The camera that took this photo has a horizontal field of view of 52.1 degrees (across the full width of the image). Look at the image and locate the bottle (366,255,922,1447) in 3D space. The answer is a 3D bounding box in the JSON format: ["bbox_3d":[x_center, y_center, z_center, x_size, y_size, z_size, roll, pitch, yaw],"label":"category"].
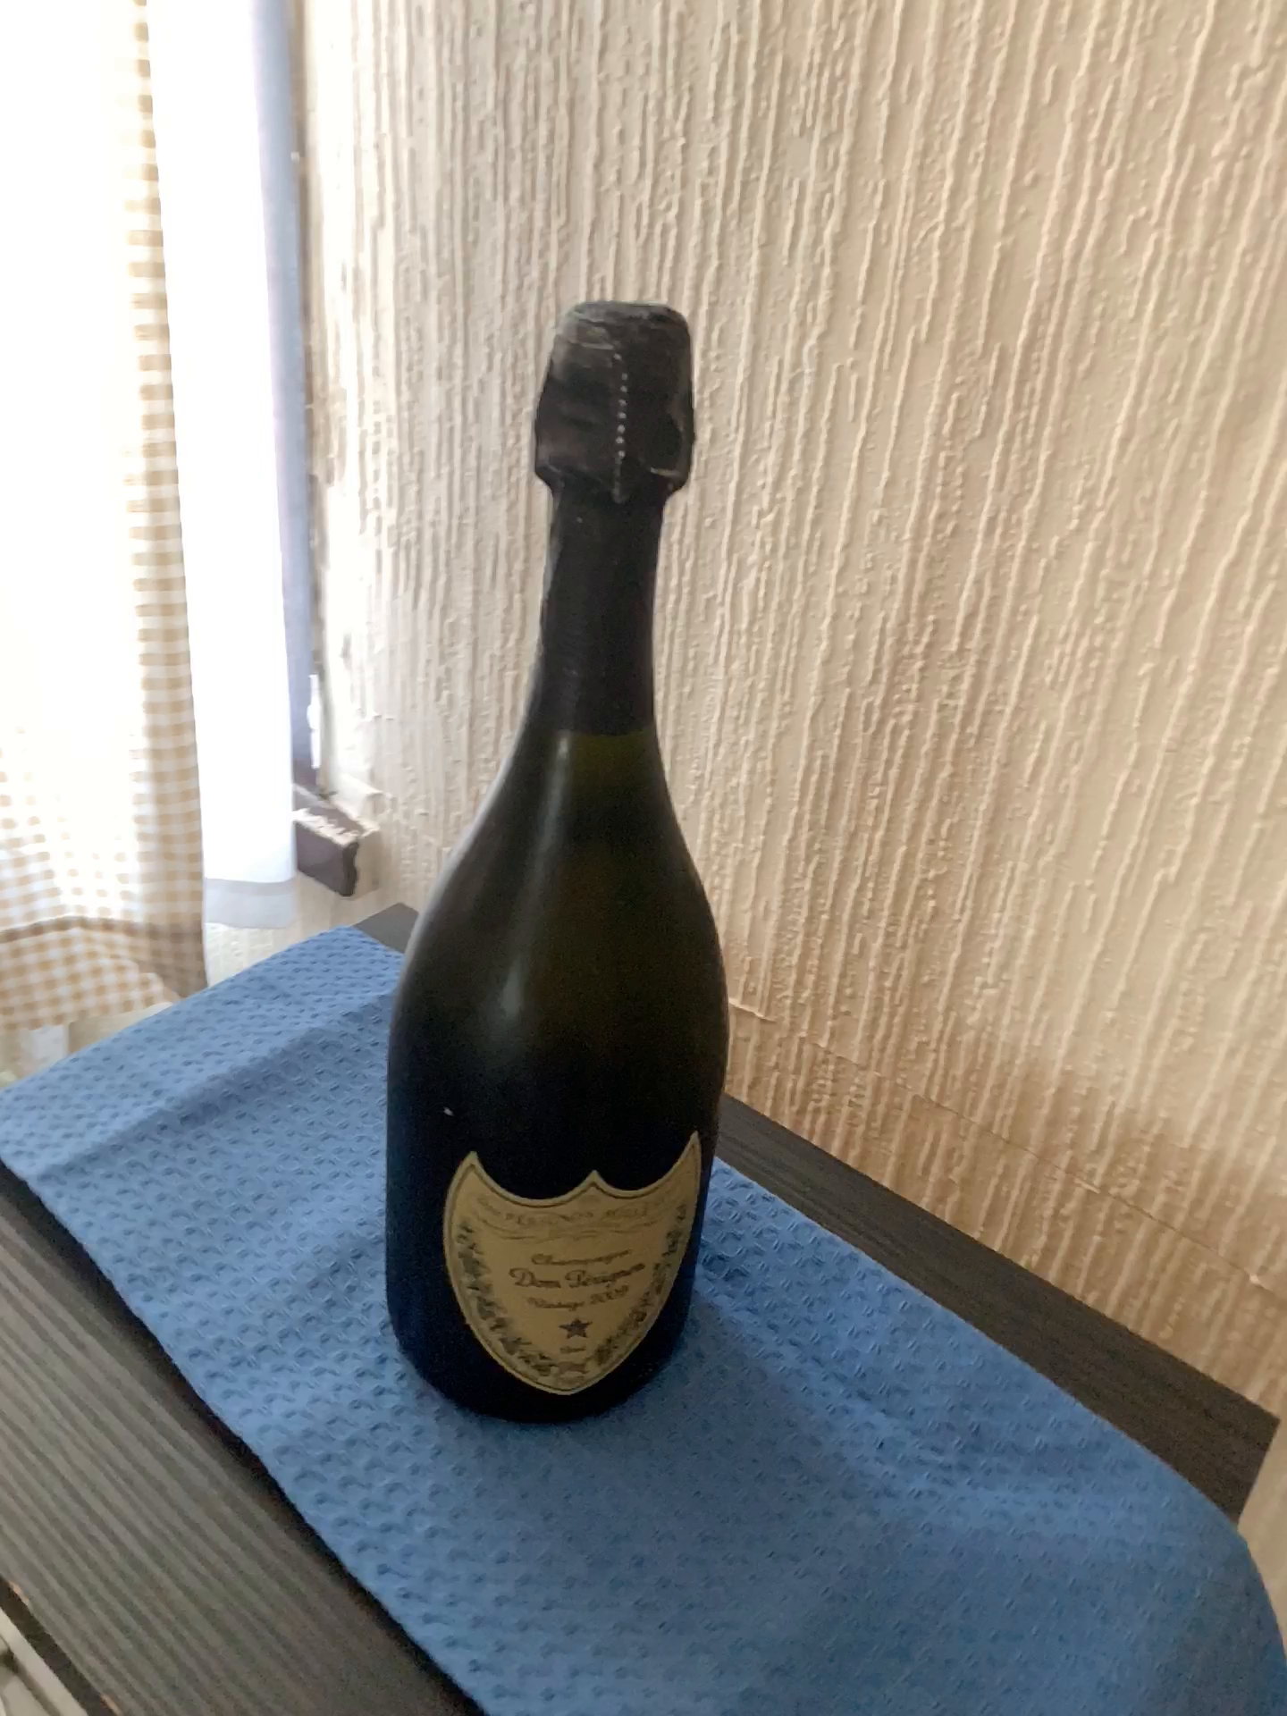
[{"bbox_3d":[-0.020,0.013,0.349,0.100,0.297,0.101,5,30,-3],"label":"bottle"}]
